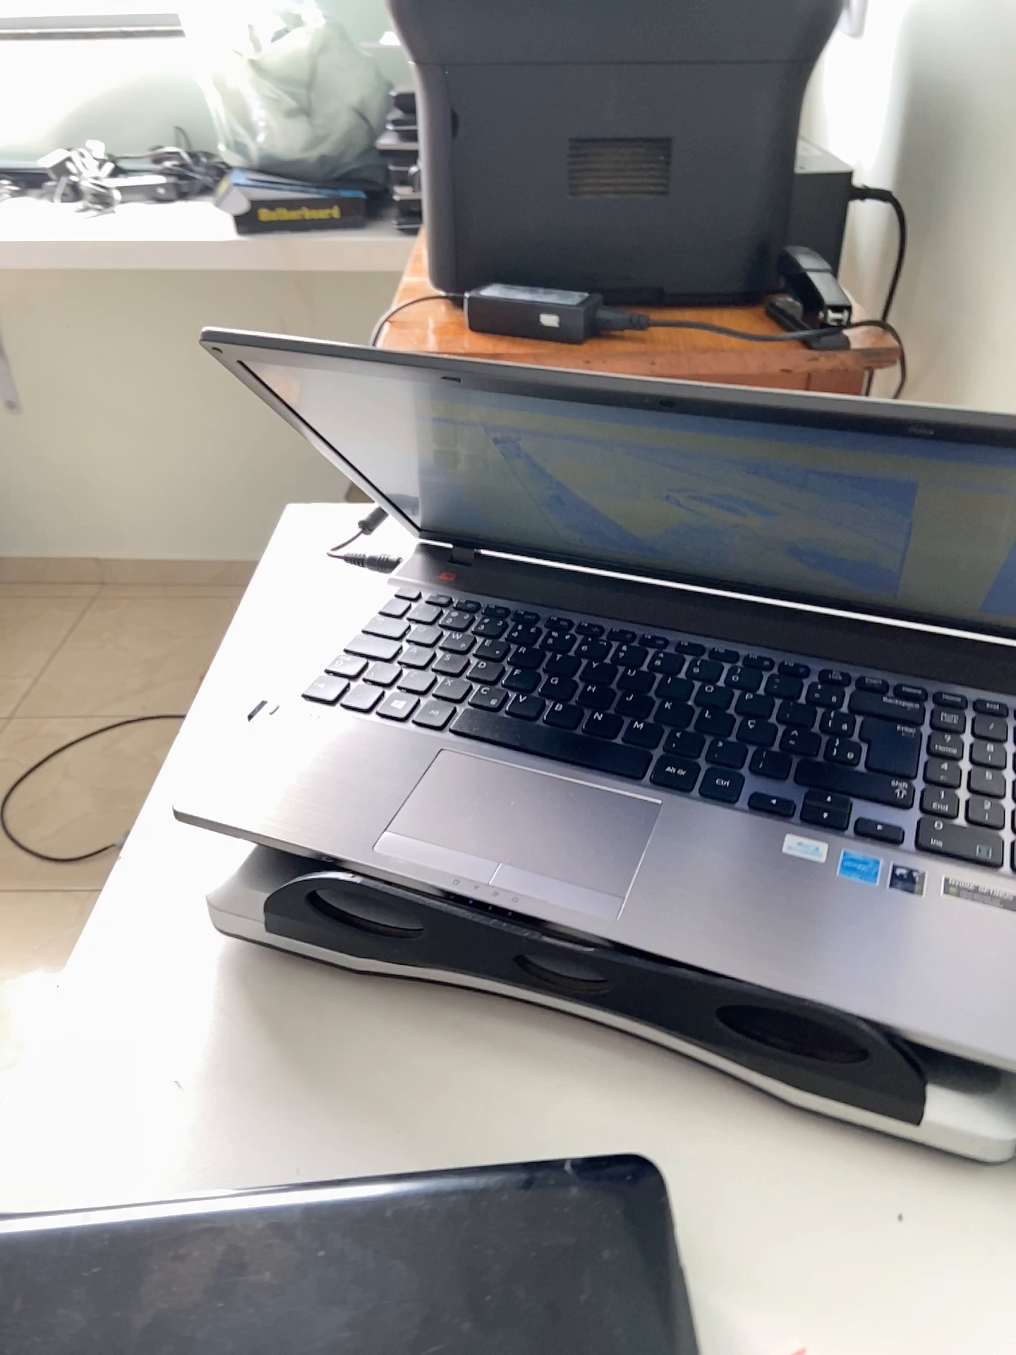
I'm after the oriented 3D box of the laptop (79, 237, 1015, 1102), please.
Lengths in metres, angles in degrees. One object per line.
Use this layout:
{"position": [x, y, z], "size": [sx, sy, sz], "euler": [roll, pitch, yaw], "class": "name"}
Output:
{"position": [0.069, -0.042, 0.415], "size": [0.359, 0.164, 0.232], "euler": [12, 39, 18], "class": "laptop"}
